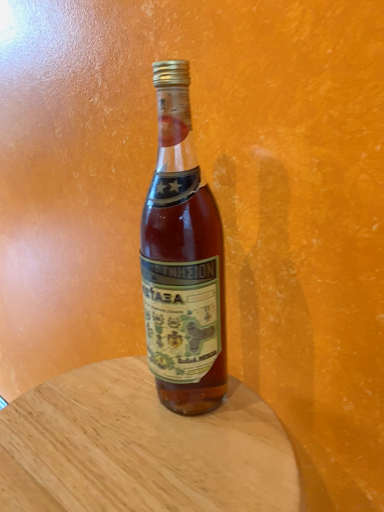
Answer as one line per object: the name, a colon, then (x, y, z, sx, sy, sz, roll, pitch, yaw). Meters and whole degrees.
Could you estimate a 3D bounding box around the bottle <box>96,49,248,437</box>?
bottle: (-0.007, -0.002, 0.337, 0.080, 0.299, 0.070, 16, 28, 40)
